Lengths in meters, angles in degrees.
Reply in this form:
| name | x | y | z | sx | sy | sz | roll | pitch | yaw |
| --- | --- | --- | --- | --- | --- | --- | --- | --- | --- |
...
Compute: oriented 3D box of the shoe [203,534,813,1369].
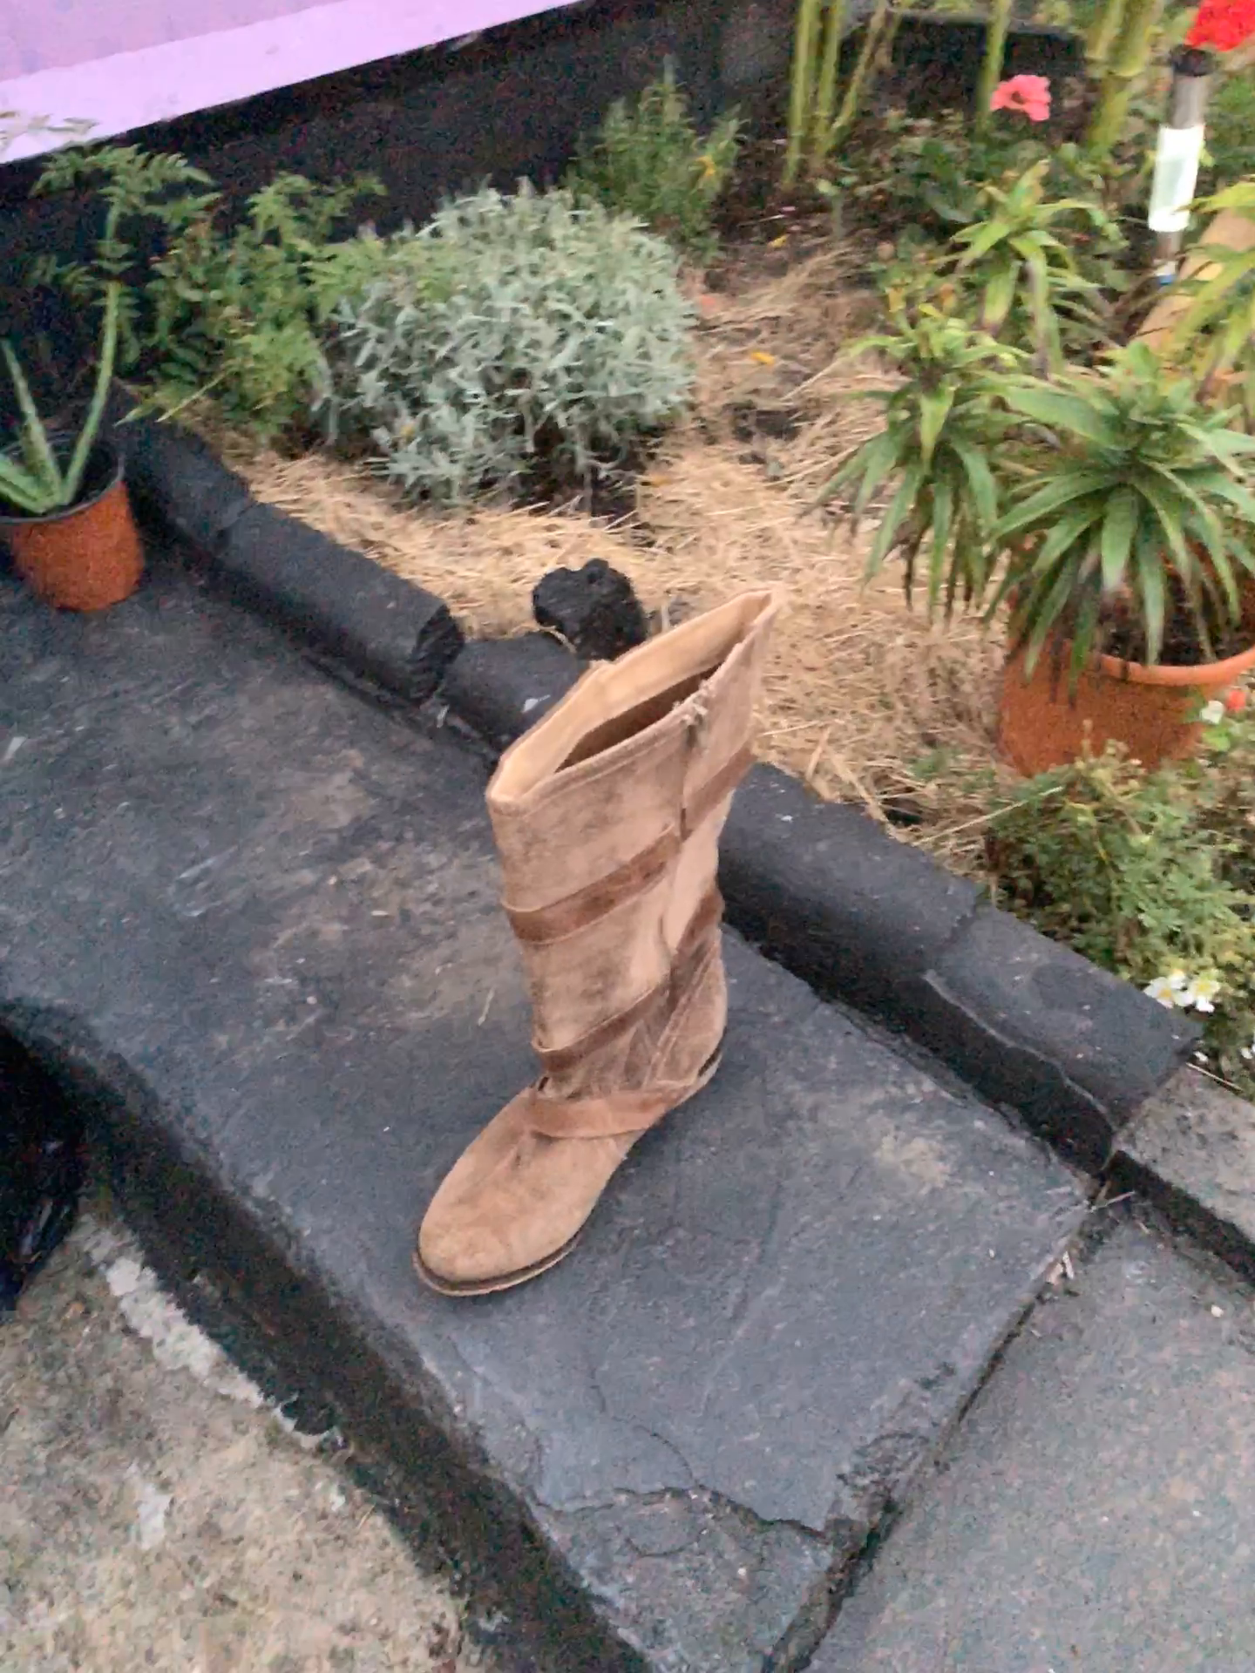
| name | x | y | z | sx | sy | sz | roll | pitch | yaw |
| --- | --- | --- | --- | --- | --- | --- | --- | --- | --- |
| shoe | -0.036 | 0.076 | 0.687 | 0.101 | 0.376 | 0.271 | 32 | 55 | 29 |
